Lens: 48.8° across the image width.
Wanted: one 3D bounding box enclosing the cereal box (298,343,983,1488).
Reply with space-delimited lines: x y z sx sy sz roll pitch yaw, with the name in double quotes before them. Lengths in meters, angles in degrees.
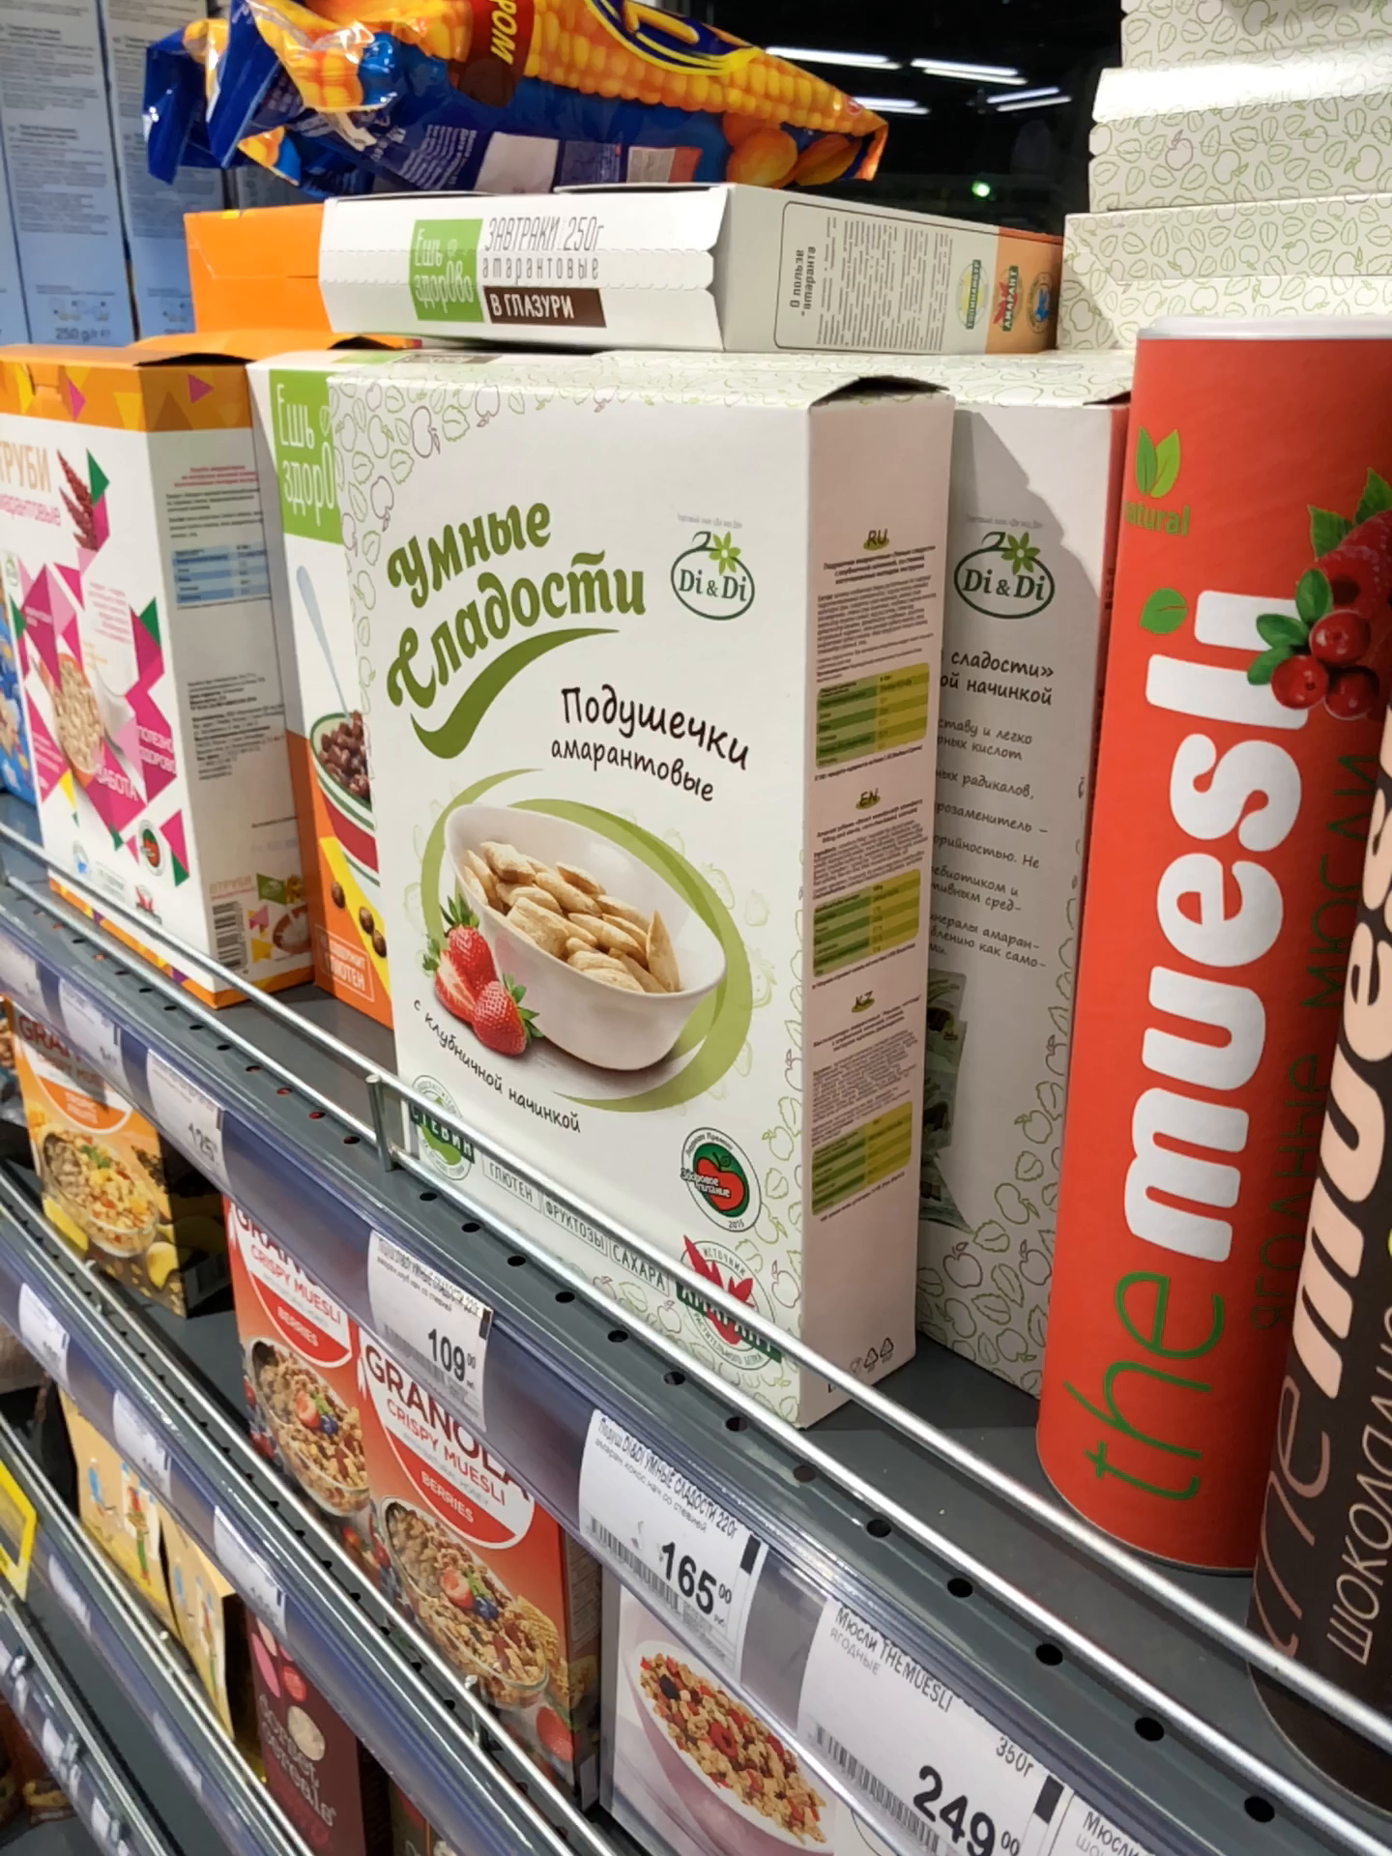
"cereal box" -0.024 -0.018 0.412 0.050 0.259 0.201 -18 27 -36
